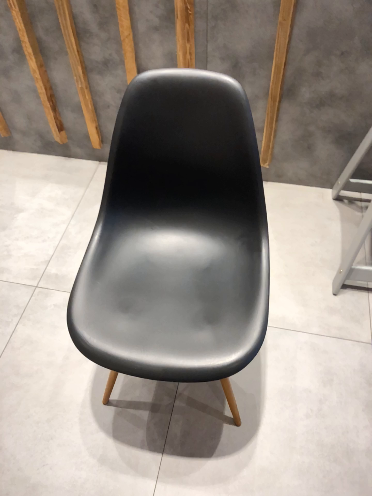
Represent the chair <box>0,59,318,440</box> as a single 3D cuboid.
[{"bbox_3d":[-0.023,0.048,1.033,0.508,0.758,0.566,6,52,7],"label":"chair"}]
